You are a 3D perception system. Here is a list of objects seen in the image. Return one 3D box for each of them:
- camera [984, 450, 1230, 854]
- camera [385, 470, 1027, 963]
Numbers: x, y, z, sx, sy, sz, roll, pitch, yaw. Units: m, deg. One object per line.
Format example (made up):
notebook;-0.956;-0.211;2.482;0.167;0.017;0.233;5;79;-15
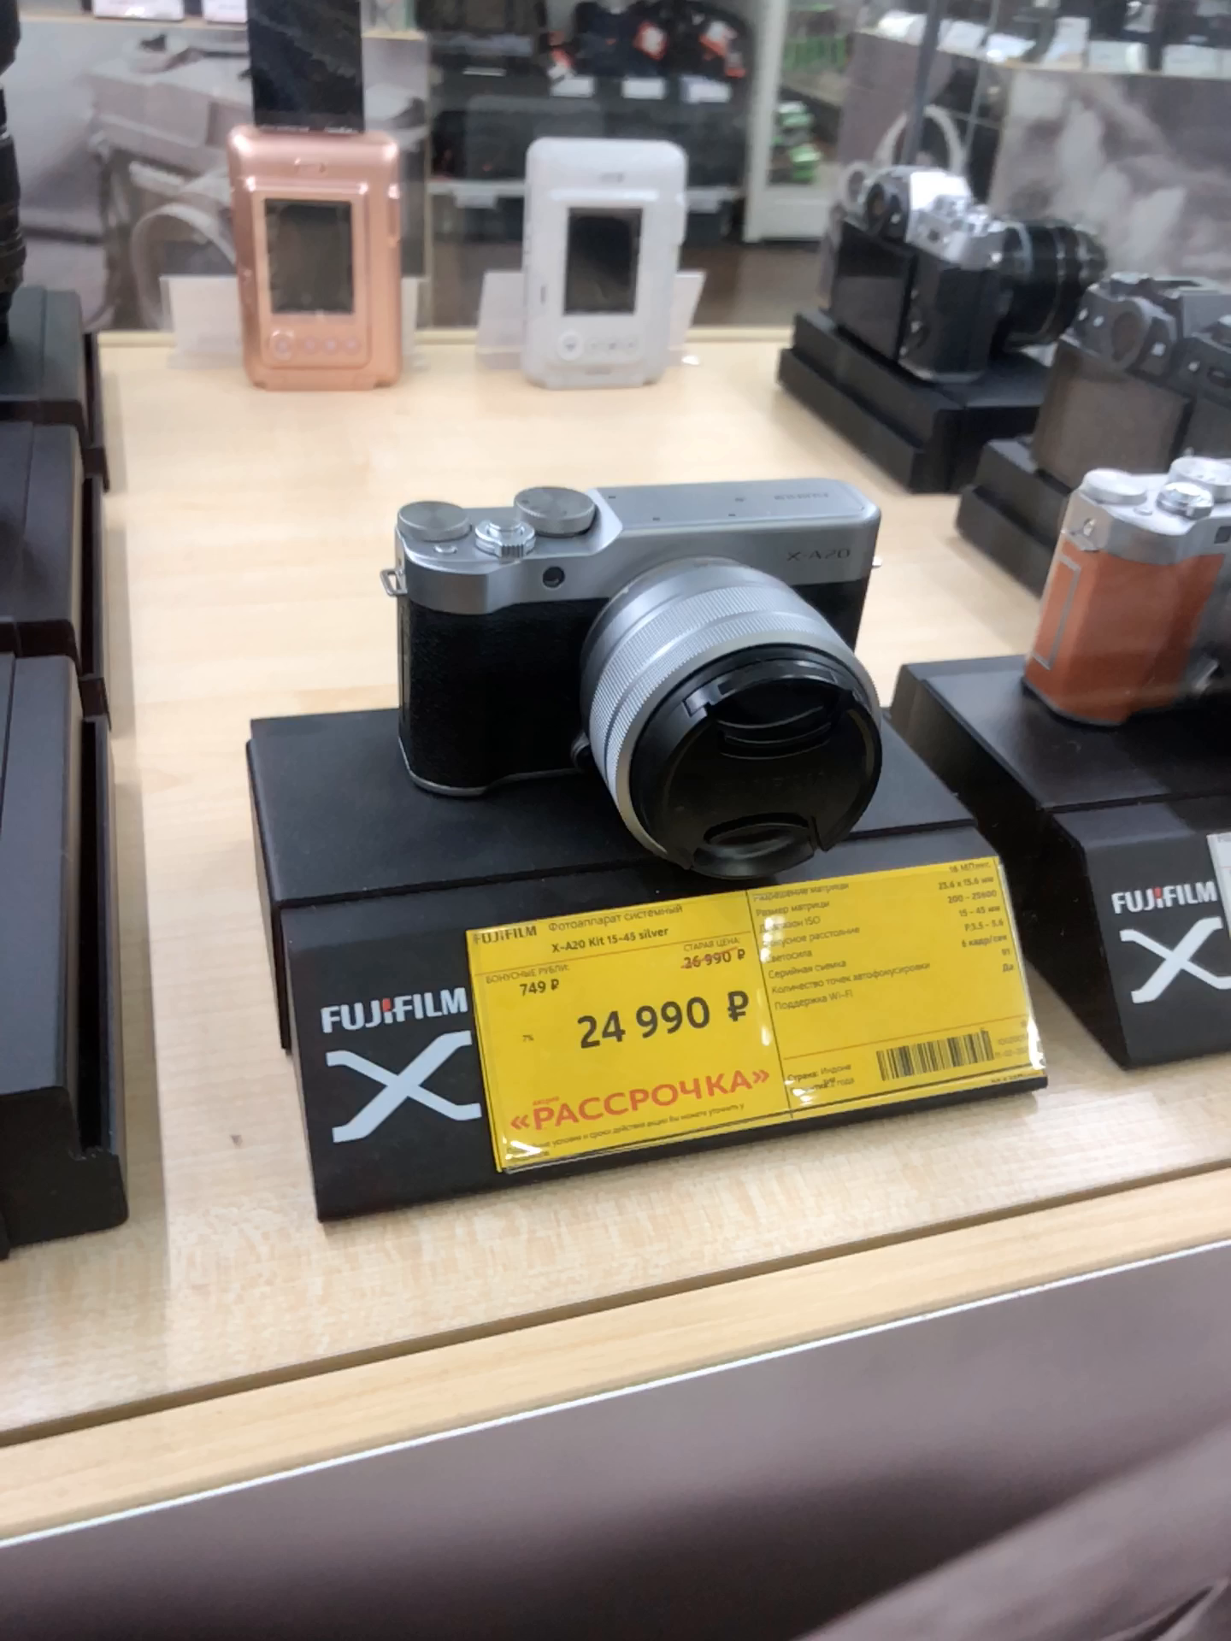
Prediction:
camera;0.190;-0.052;0.384;0.128;0.072;0.088;-6;35;-16
camera;0.013;-0.030;0.322;0.120;0.072;0.088;-6;35;-16
